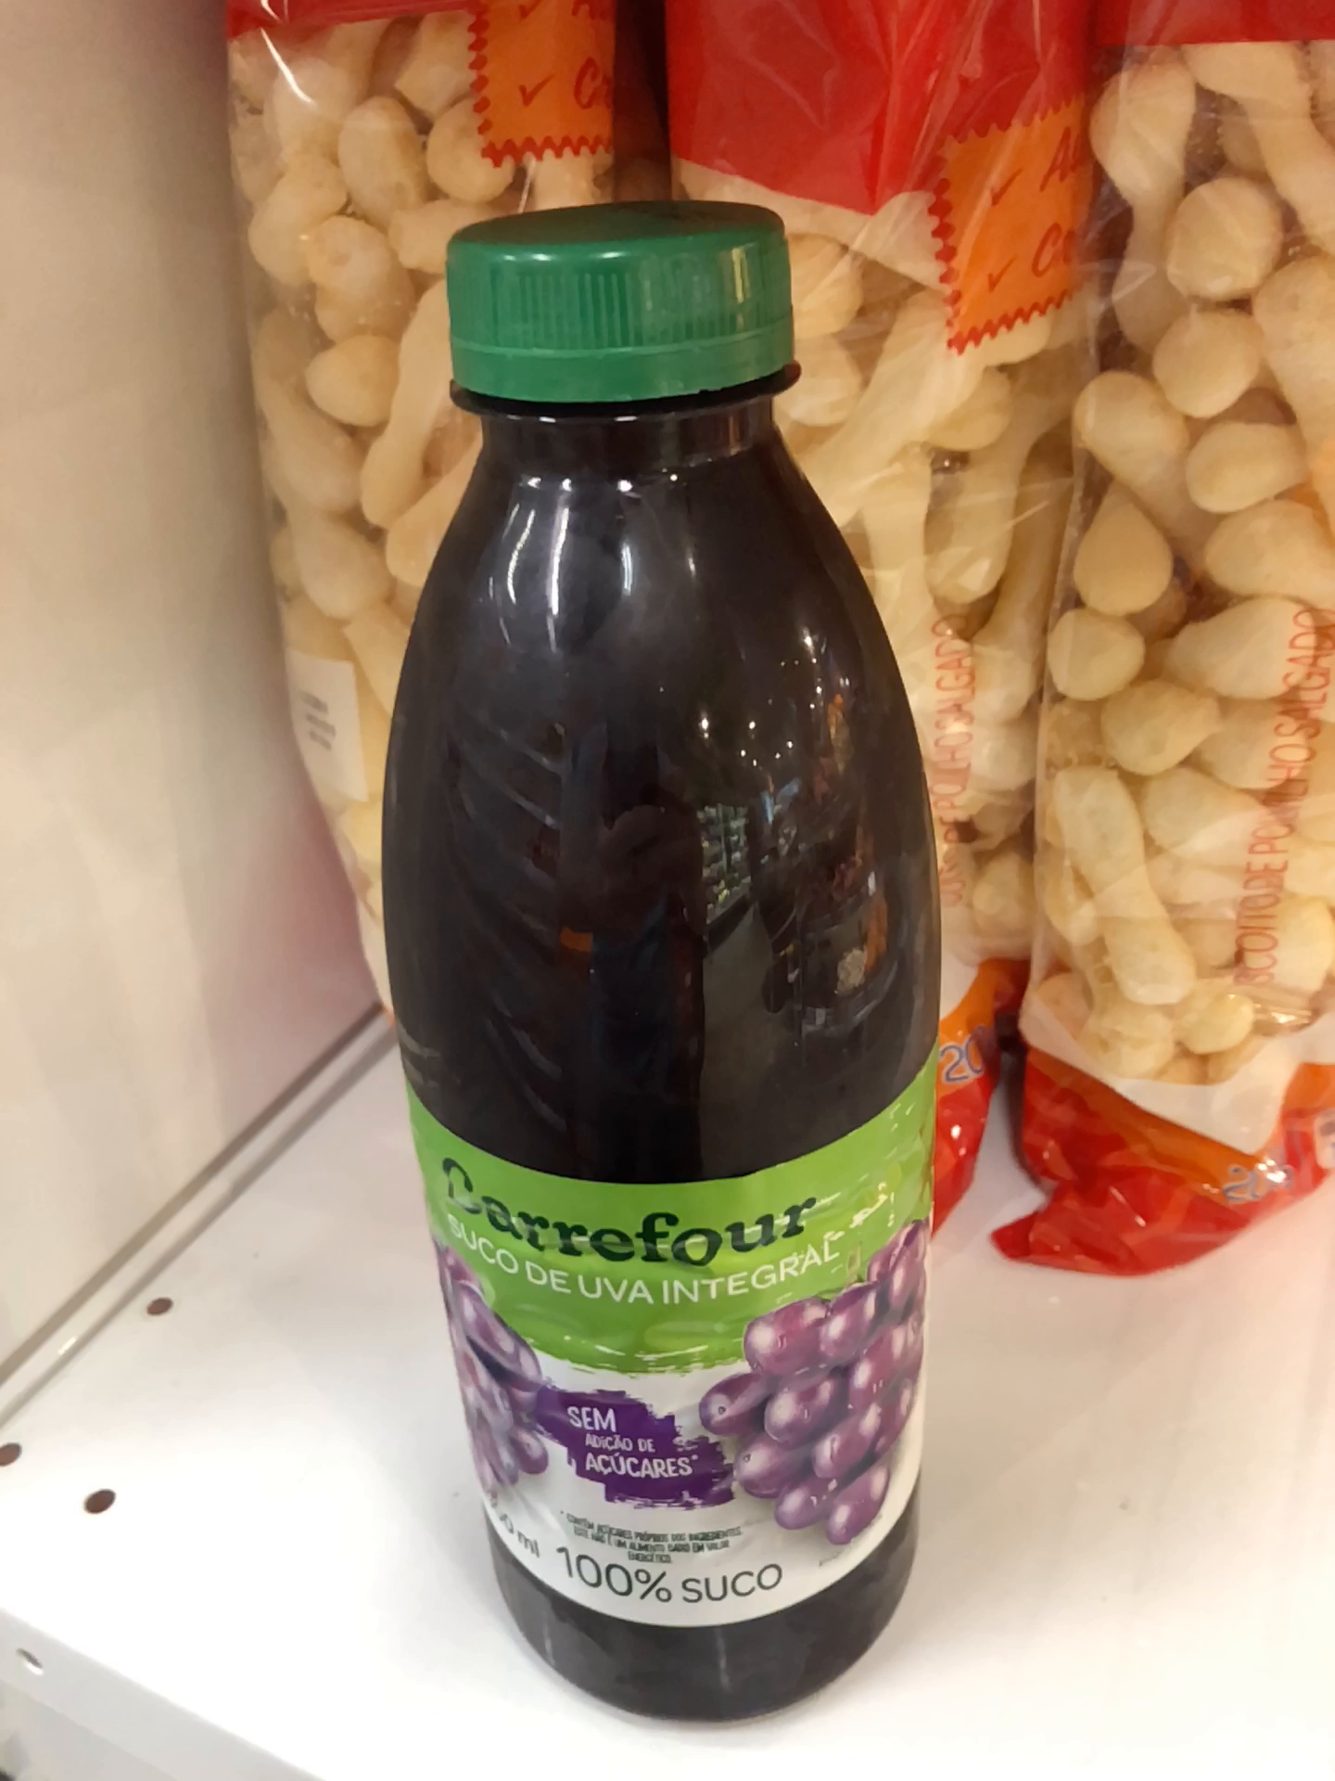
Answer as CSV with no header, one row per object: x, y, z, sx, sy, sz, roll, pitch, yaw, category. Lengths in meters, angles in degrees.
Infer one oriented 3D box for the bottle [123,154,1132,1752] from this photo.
0.003,0.021,0.225,0.090,0.228,0.081,3,32,7,bottle
